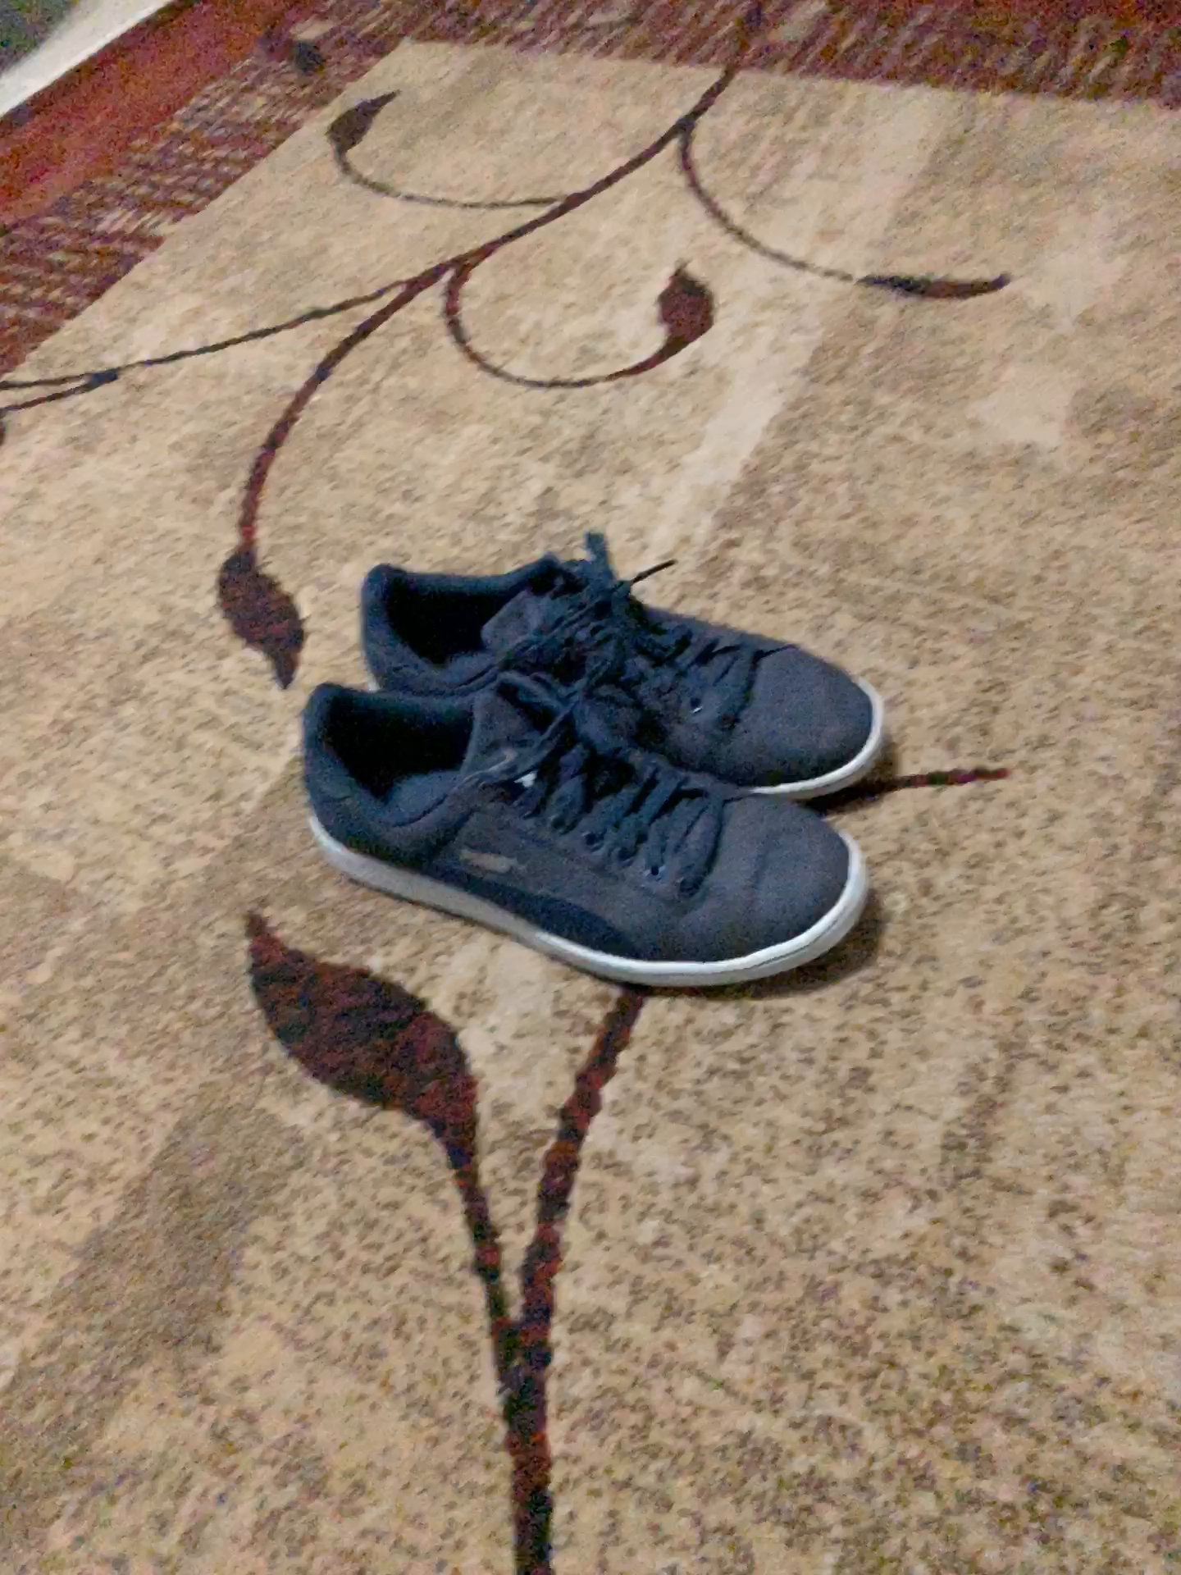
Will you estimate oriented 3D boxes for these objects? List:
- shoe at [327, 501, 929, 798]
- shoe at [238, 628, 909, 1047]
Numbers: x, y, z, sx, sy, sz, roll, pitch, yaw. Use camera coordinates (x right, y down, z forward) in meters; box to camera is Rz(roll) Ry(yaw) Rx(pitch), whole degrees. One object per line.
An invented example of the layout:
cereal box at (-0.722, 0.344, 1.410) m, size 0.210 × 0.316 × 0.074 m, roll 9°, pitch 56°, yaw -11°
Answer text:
shoe at (0.019, -0.074, 0.603) m, size 0.274 × 0.050 × 0.100 m, roll 11°, pitch 55°, yaw 16°
shoe at (-0.005, 0.018, 0.561) m, size 0.274 × 0.090 × 0.107 m, roll 12°, pitch 55°, yaw 16°
